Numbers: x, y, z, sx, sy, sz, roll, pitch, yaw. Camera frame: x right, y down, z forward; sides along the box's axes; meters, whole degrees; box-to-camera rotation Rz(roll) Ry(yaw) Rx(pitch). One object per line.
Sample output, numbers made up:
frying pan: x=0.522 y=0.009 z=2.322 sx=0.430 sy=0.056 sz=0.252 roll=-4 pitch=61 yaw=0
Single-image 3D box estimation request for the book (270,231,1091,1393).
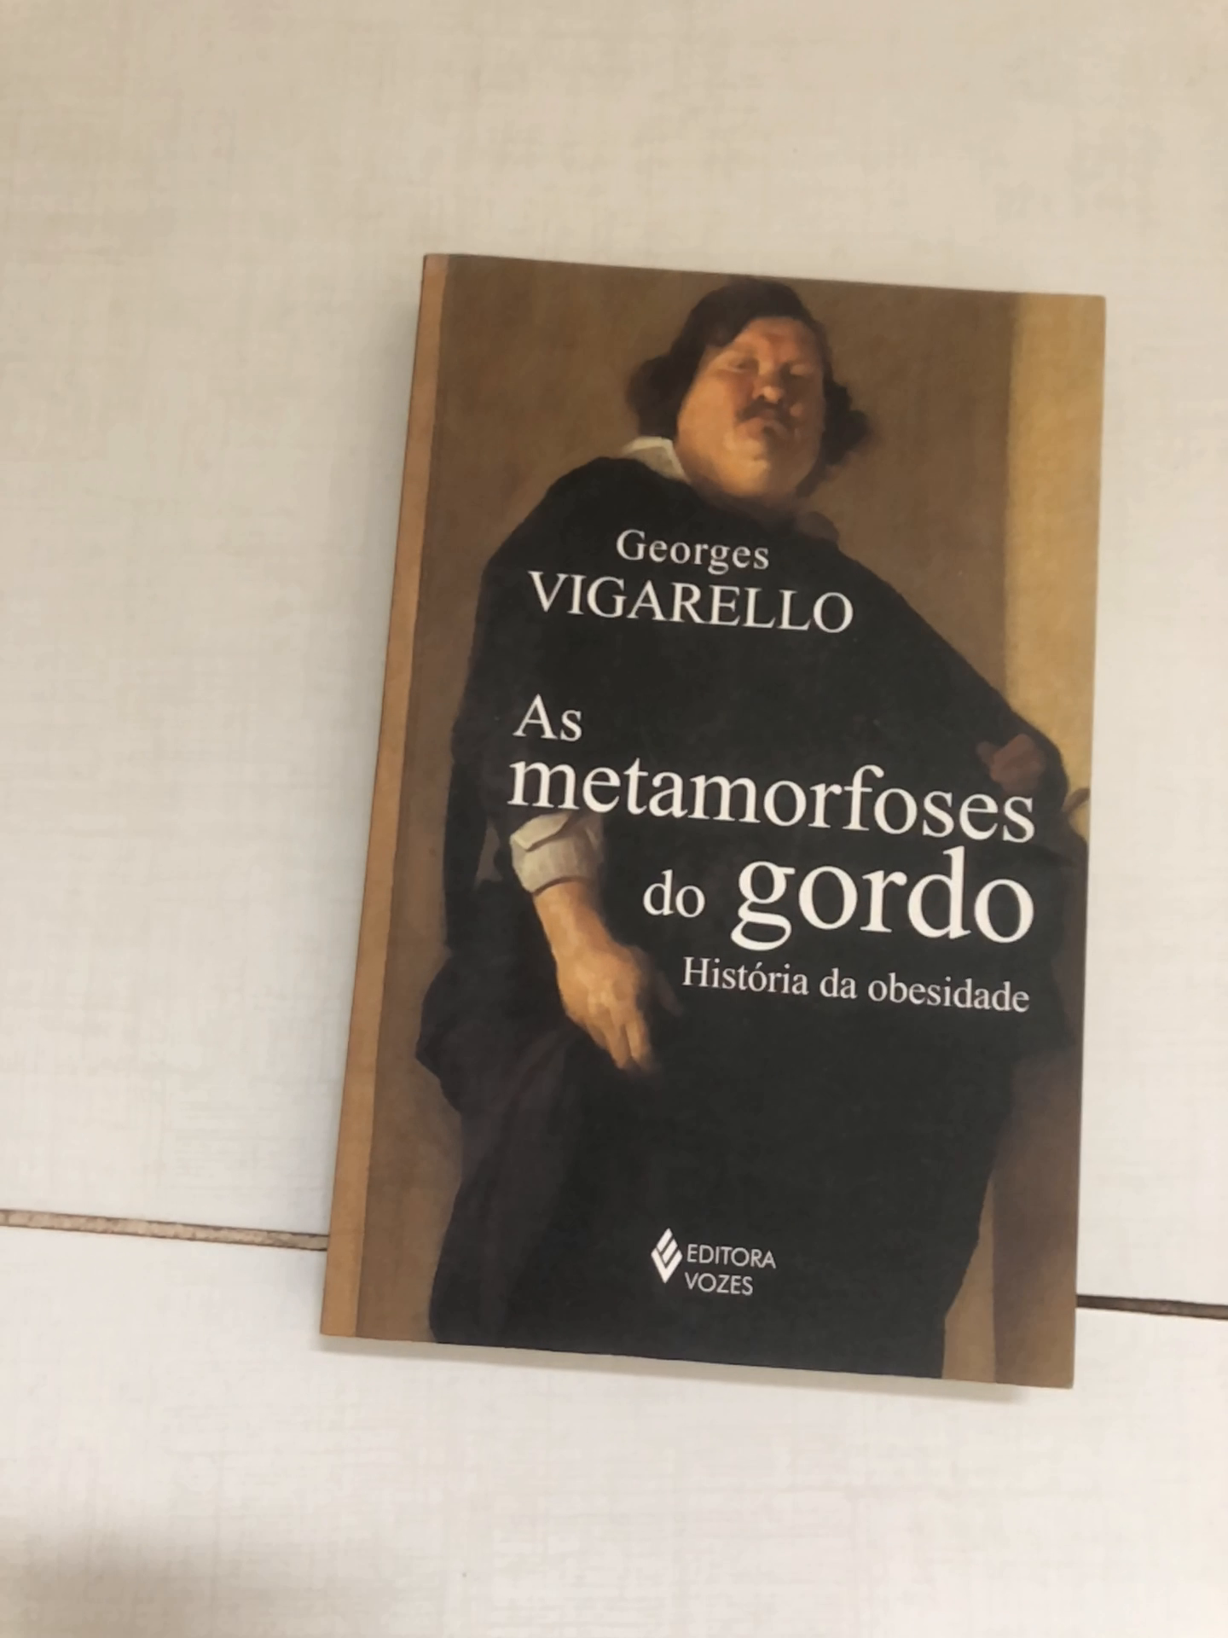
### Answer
book: x=0.015 y=-0.006 z=0.260 sx=0.137 sy=0.023 sz=0.204 roll=4 pitch=83 yaw=1
